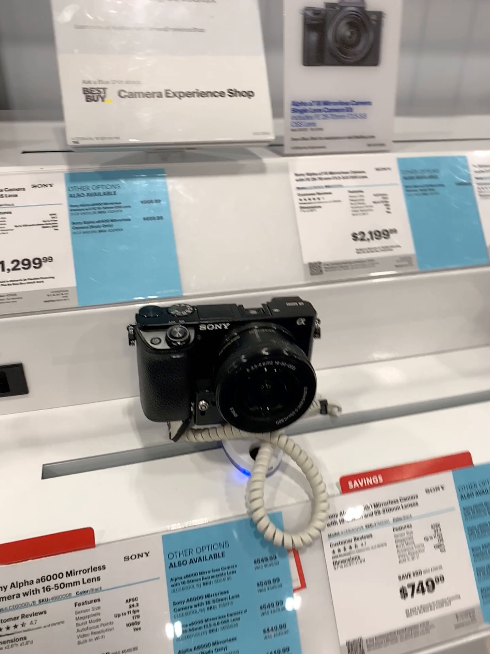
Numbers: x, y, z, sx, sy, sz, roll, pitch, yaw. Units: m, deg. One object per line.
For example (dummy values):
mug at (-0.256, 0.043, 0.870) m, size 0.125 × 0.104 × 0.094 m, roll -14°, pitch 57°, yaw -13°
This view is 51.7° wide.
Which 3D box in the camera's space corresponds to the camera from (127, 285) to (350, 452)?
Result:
camera at (-0.007, 0.025, 0.337) m, size 0.130 × 0.080 × 0.060 m, roll -4°, pitch 30°, yaw -9°
